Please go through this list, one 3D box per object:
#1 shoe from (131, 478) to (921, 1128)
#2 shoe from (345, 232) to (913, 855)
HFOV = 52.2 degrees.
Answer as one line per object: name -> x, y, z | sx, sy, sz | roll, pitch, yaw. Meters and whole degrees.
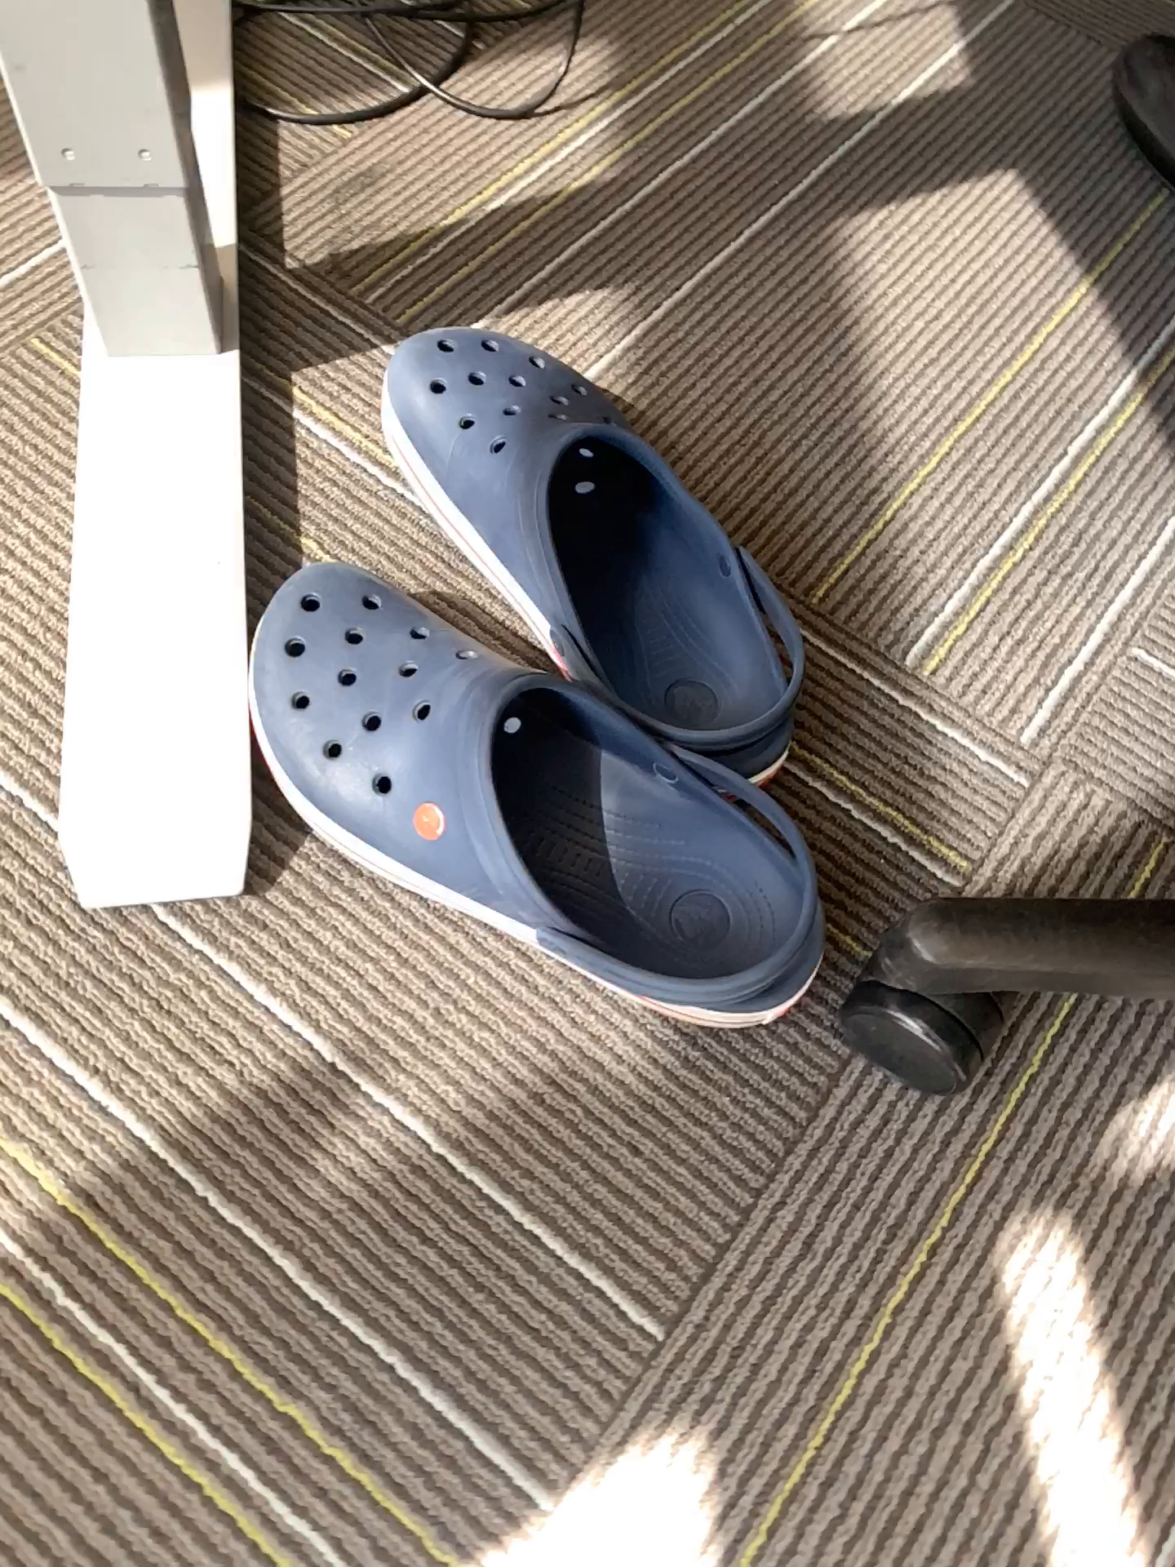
shoe -> -0.031, 0.004, 0.561 | 0.330, 0.080, 0.130 | 32, 65, 9
shoe -> 0.009, -0.136, 0.632 | 0.130, 0.080, 0.321 | -28, 70, -18
